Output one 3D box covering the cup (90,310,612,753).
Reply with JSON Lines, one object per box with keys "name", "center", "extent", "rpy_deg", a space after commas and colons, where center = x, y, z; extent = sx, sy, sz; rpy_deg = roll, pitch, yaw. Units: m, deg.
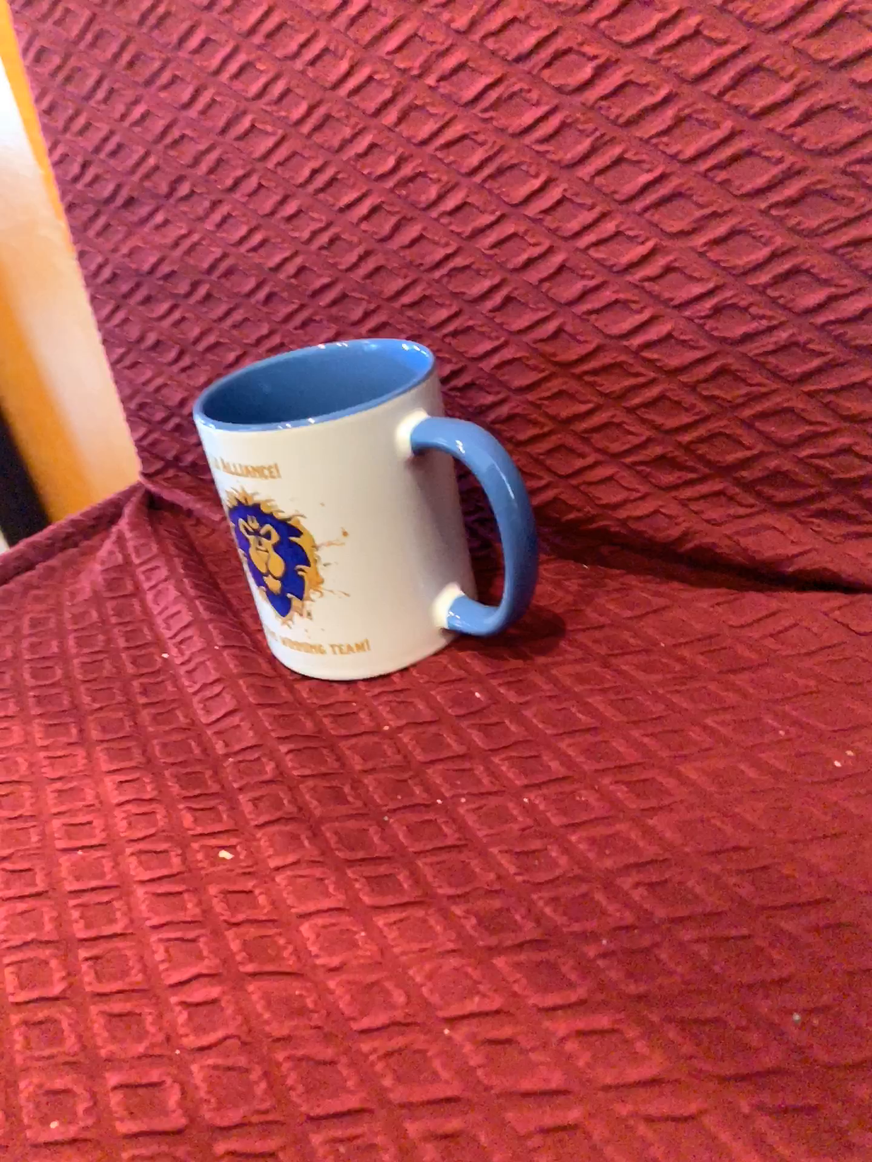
{"name": "cup", "center": [-0.025, -0.028, 0.313], "extent": [0.130, 0.099, 0.100], "rpy_deg": [14, 39, 36]}
